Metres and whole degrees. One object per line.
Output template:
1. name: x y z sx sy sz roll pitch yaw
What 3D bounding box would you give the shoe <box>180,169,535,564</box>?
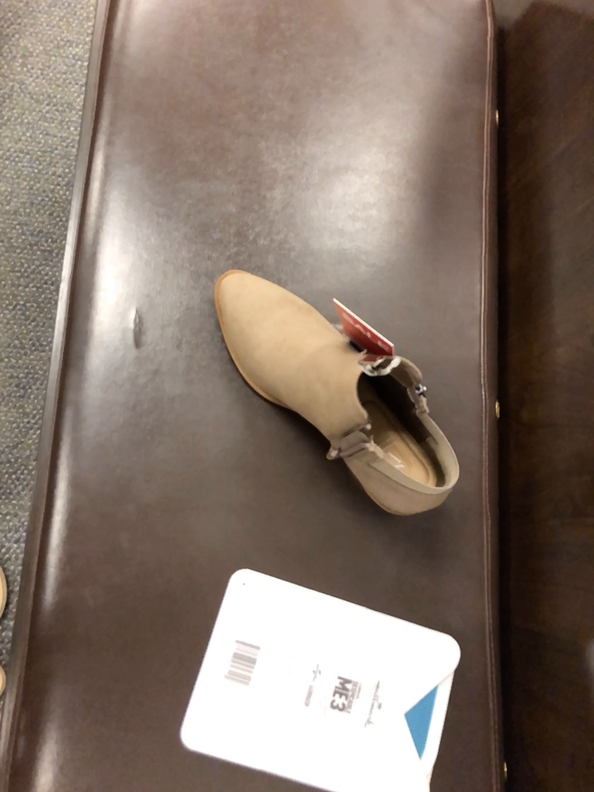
1. shoe: 0.031 -0.012 0.490 0.097 0.133 0.260 -37 88 -15
